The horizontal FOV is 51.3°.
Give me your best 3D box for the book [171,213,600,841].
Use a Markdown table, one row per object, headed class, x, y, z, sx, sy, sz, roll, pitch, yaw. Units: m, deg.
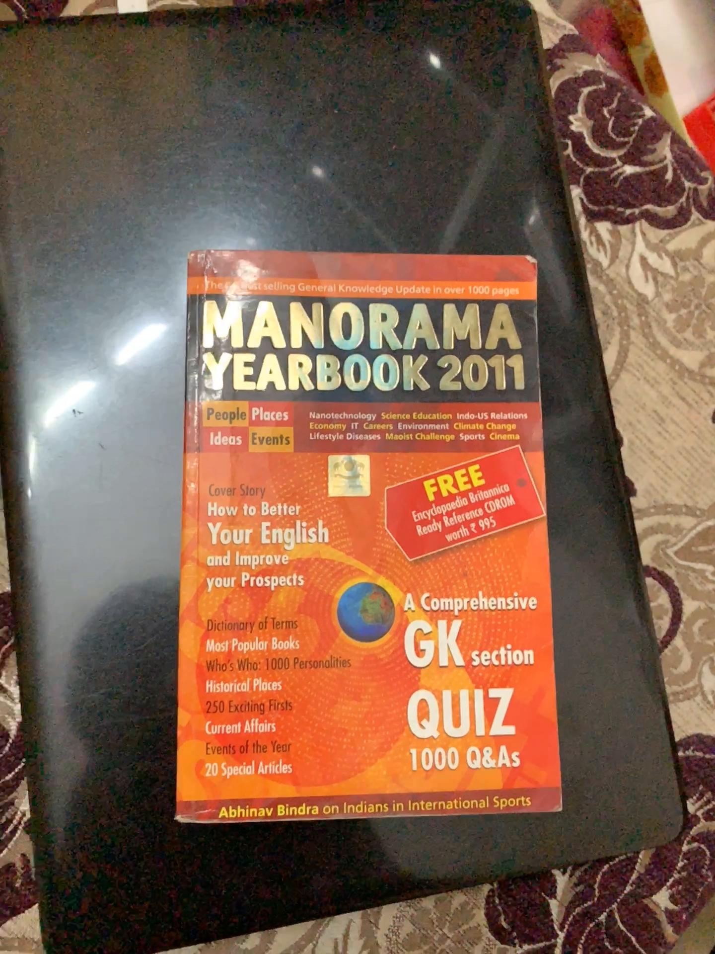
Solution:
| class | x | y | z | sx | sy | sz | roll | pitch | yaw |
| --- | --- | --- | --- | --- | --- | --- | --- | --- | --- |
| book | 0.007 | 0.014 | 0.282 | 0.140 | 0.050 | 0.210 | 1 | 81 | -7 |
